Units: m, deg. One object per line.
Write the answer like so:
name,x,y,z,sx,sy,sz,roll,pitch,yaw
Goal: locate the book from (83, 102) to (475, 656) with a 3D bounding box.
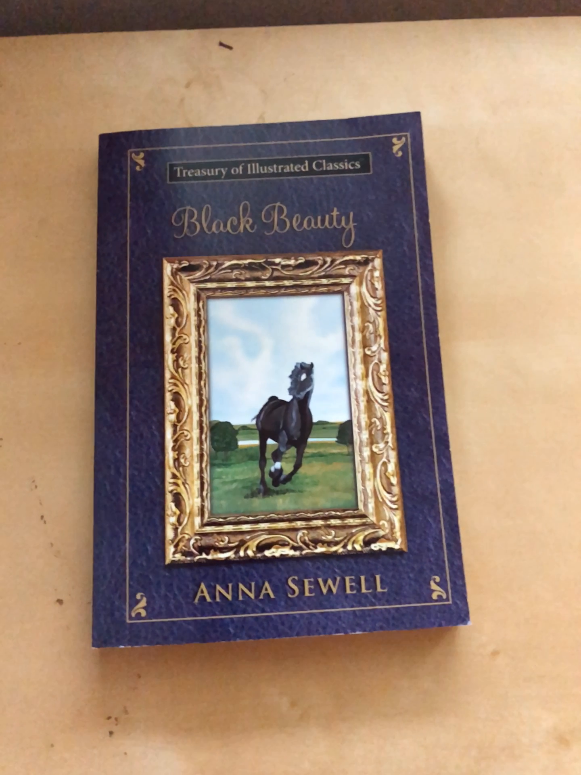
book,-0.008,-0.009,0.238,0.126,0.025,0.193,-3,78,0
